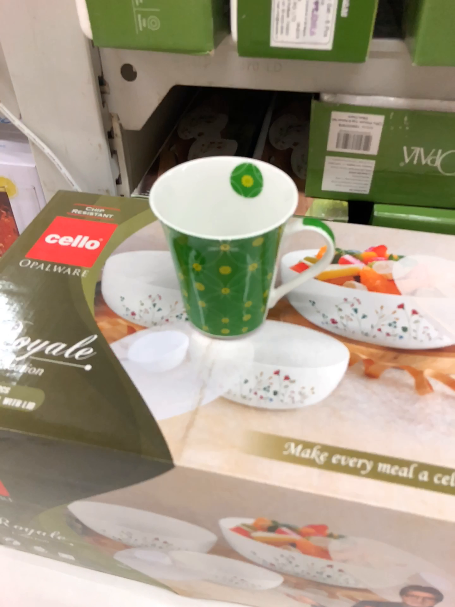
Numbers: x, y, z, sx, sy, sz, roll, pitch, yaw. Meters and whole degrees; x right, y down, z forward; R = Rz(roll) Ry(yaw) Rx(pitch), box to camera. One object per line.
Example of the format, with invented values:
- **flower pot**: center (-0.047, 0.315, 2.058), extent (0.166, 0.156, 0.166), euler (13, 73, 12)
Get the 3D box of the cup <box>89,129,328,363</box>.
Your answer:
- **cup**: center (-0.004, -0.037, 0.295), extent (0.110, 0.089, 0.091), euler (8, 43, 8)
